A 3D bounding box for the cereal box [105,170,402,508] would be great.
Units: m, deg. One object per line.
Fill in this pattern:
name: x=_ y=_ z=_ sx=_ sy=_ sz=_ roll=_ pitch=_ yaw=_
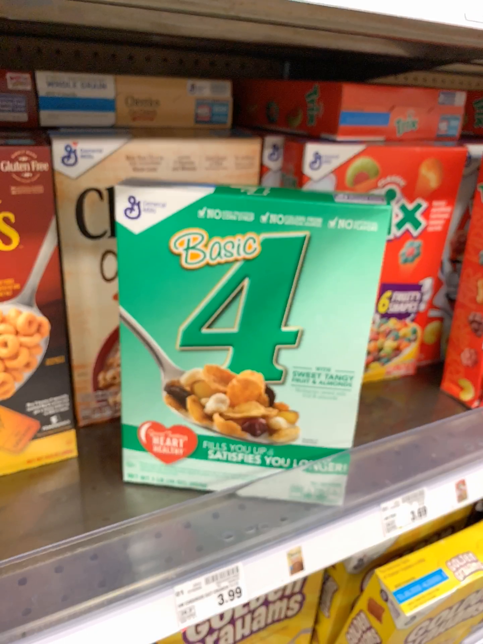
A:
cereal box: x=0.001 y=0.020 z=0.413 sx=0.200 sy=0.259 sz=0.050 roll=5 pitch=22 yaw=4
